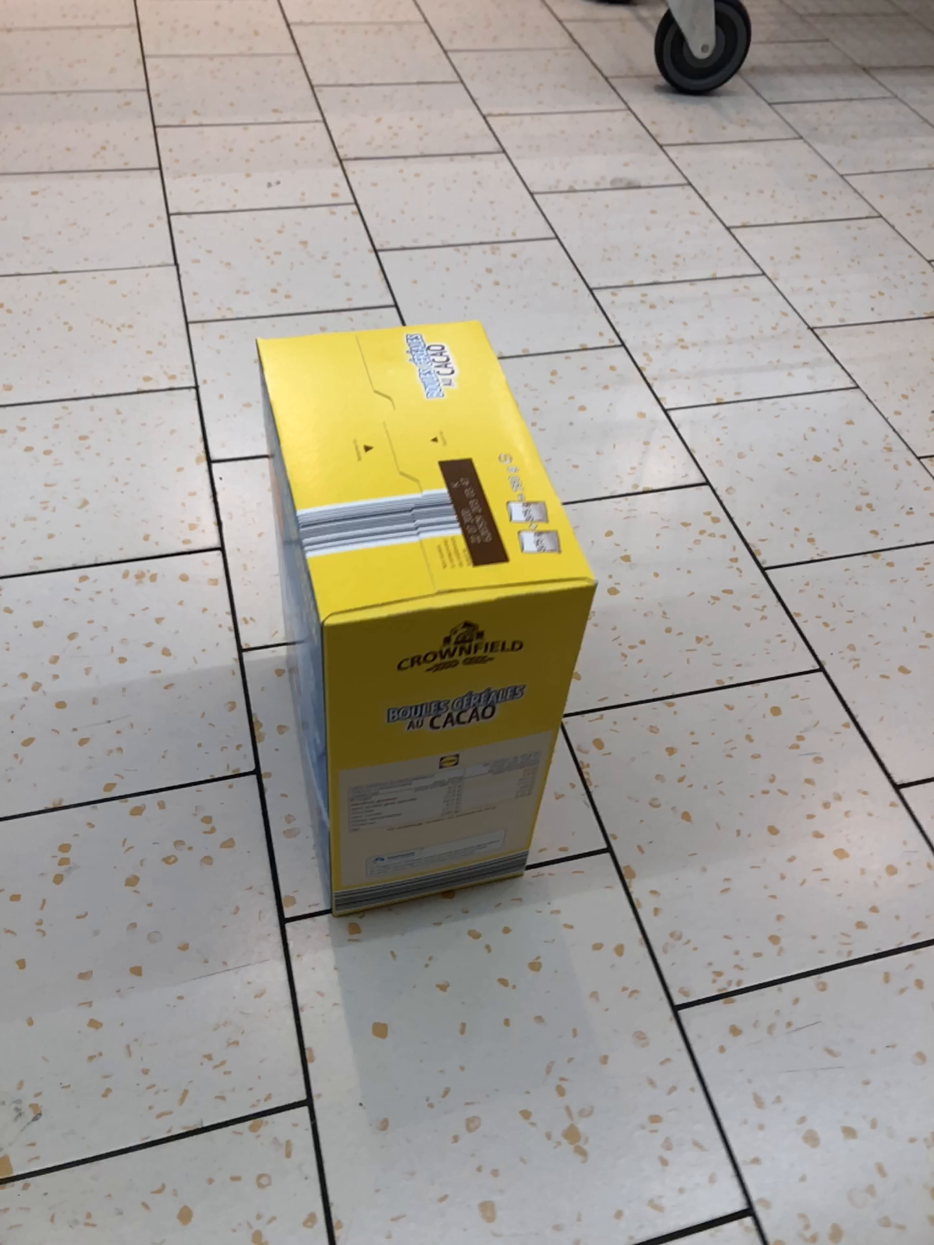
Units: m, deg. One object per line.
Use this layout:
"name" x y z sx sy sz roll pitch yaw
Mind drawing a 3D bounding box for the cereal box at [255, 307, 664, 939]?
"cereal box" -0.022 0.003 0.540 0.130 0.238 0.211 -9 50 -13
